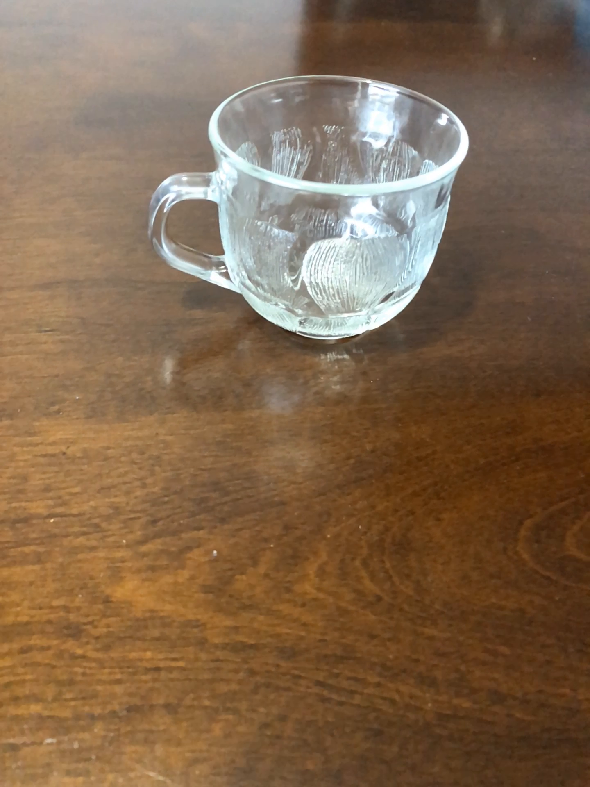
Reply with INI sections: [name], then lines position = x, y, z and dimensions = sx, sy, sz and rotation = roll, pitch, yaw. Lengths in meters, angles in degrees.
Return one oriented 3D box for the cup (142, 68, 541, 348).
[cup]
position = 0.008, -0.062, 0.209
dimensions = 0.100, 0.050, 0.080
rotation = -3, 46, -6
